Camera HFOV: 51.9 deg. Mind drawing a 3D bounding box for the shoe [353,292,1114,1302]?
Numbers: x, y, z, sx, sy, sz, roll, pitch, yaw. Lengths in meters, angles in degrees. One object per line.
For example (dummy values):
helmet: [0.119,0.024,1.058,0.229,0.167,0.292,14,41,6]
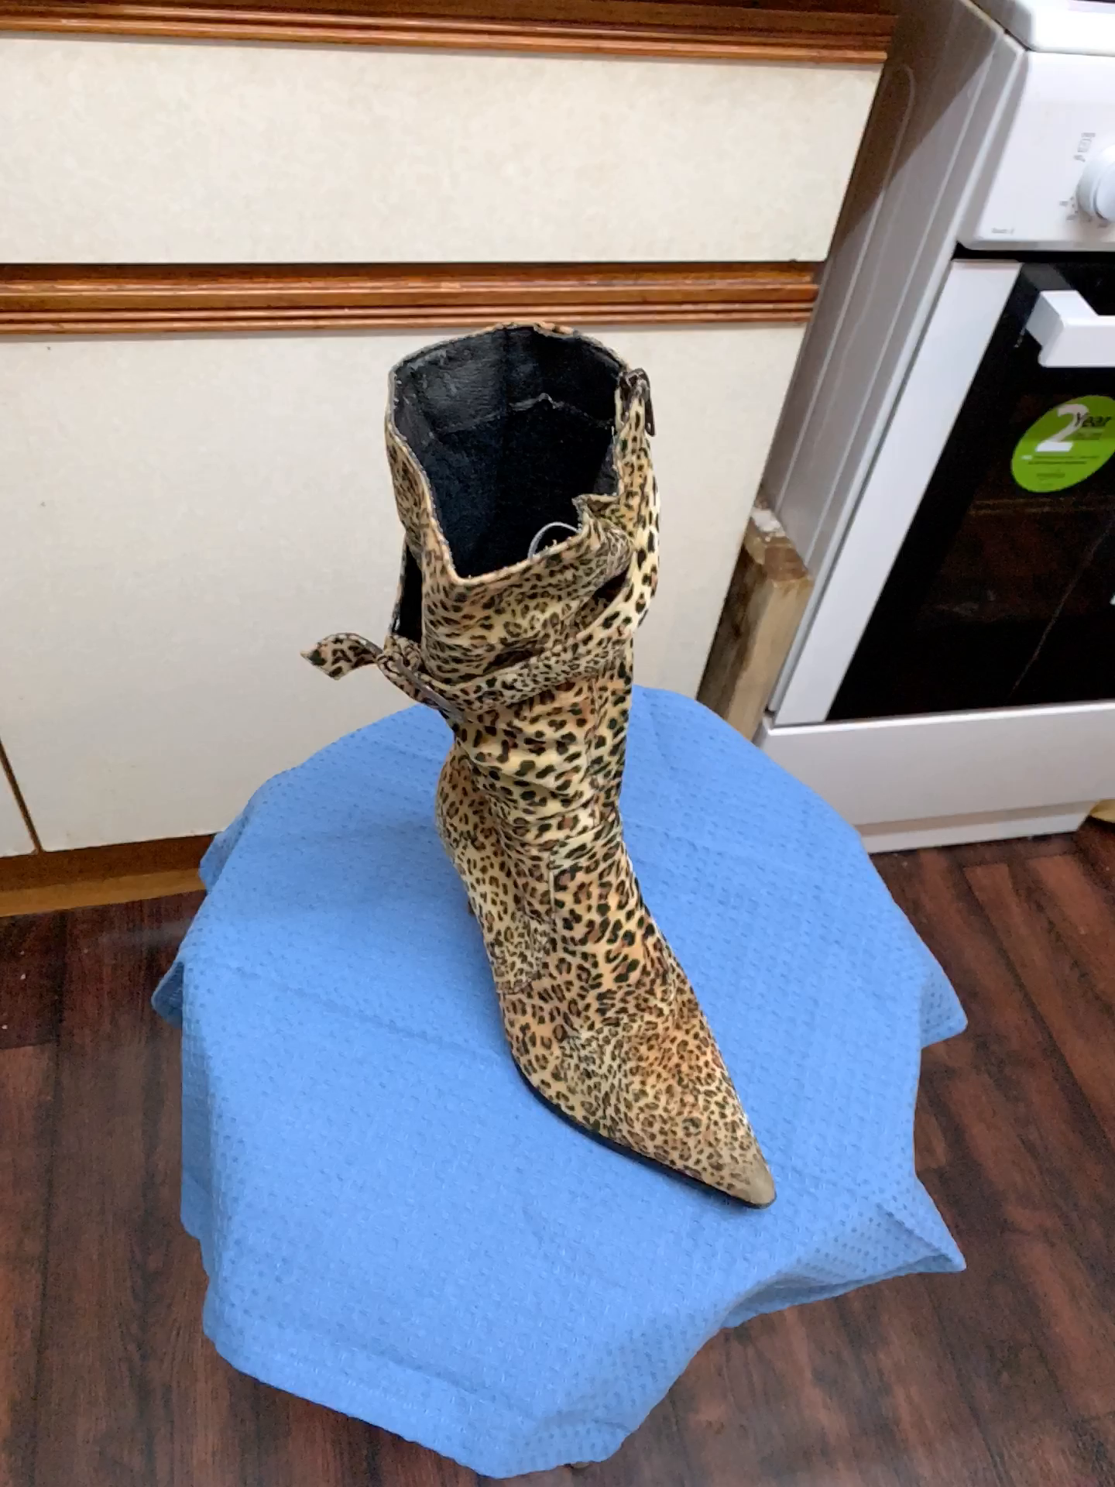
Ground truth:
shoe: [0.032,0.043,0.487,0.100,0.347,0.261,-29,59,-29]
